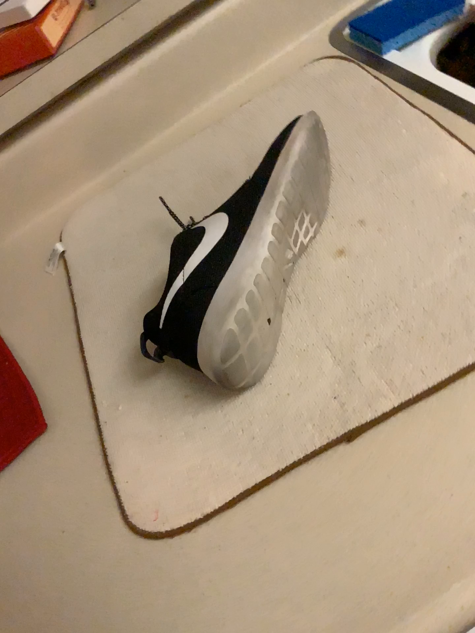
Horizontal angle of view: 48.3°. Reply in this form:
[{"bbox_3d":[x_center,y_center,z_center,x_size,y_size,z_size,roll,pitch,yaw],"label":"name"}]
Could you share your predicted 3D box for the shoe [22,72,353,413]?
[{"bbox_3d":[-0.028,-0.075,0.471,0.180,0.100,0.270,7,61,29],"label":"shoe"}]
